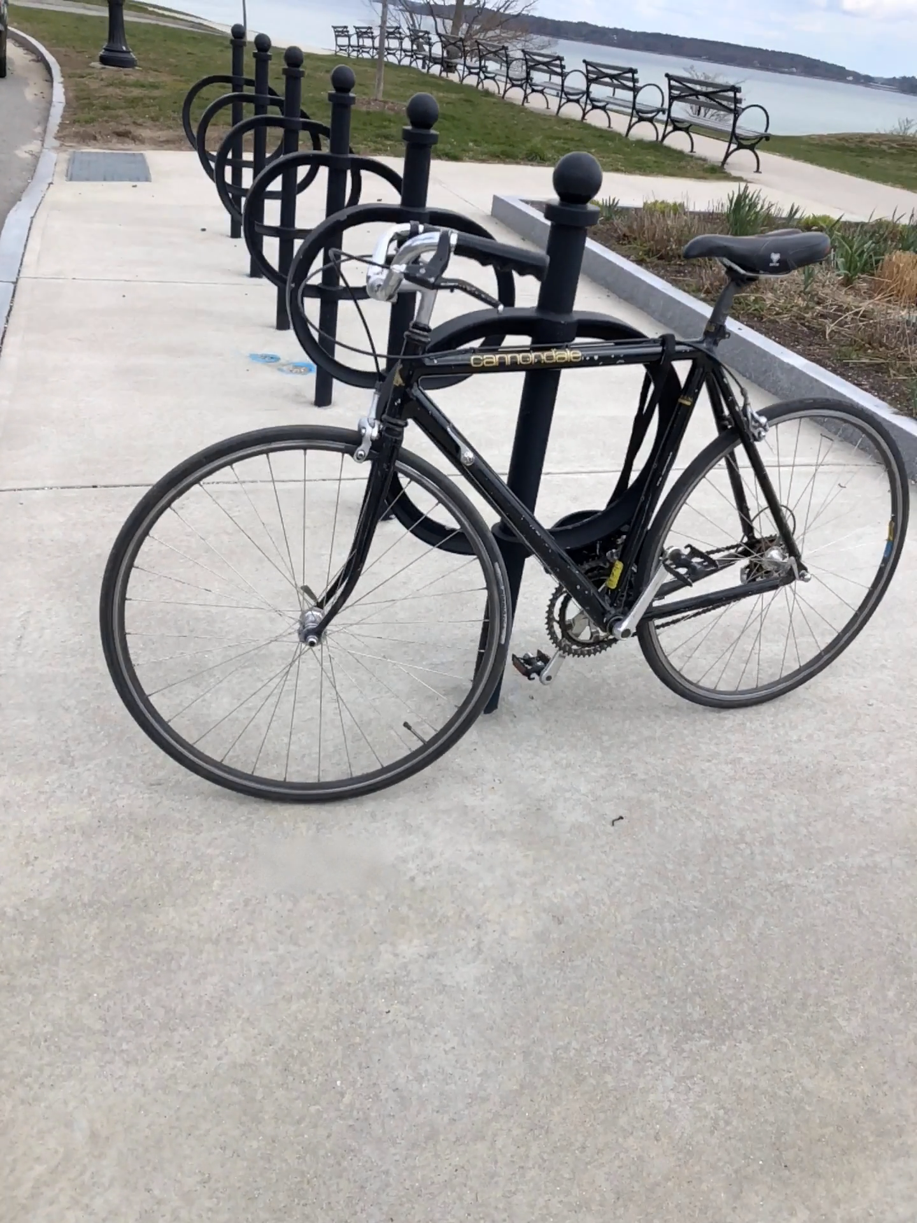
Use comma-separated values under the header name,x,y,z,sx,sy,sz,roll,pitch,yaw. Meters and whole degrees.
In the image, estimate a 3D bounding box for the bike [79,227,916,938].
name,x,y,z,sx,sy,sz,roll,pitch,yaw
bike,0.164,-0.127,1.566,1.385,0.805,0.487,-7,33,-20
